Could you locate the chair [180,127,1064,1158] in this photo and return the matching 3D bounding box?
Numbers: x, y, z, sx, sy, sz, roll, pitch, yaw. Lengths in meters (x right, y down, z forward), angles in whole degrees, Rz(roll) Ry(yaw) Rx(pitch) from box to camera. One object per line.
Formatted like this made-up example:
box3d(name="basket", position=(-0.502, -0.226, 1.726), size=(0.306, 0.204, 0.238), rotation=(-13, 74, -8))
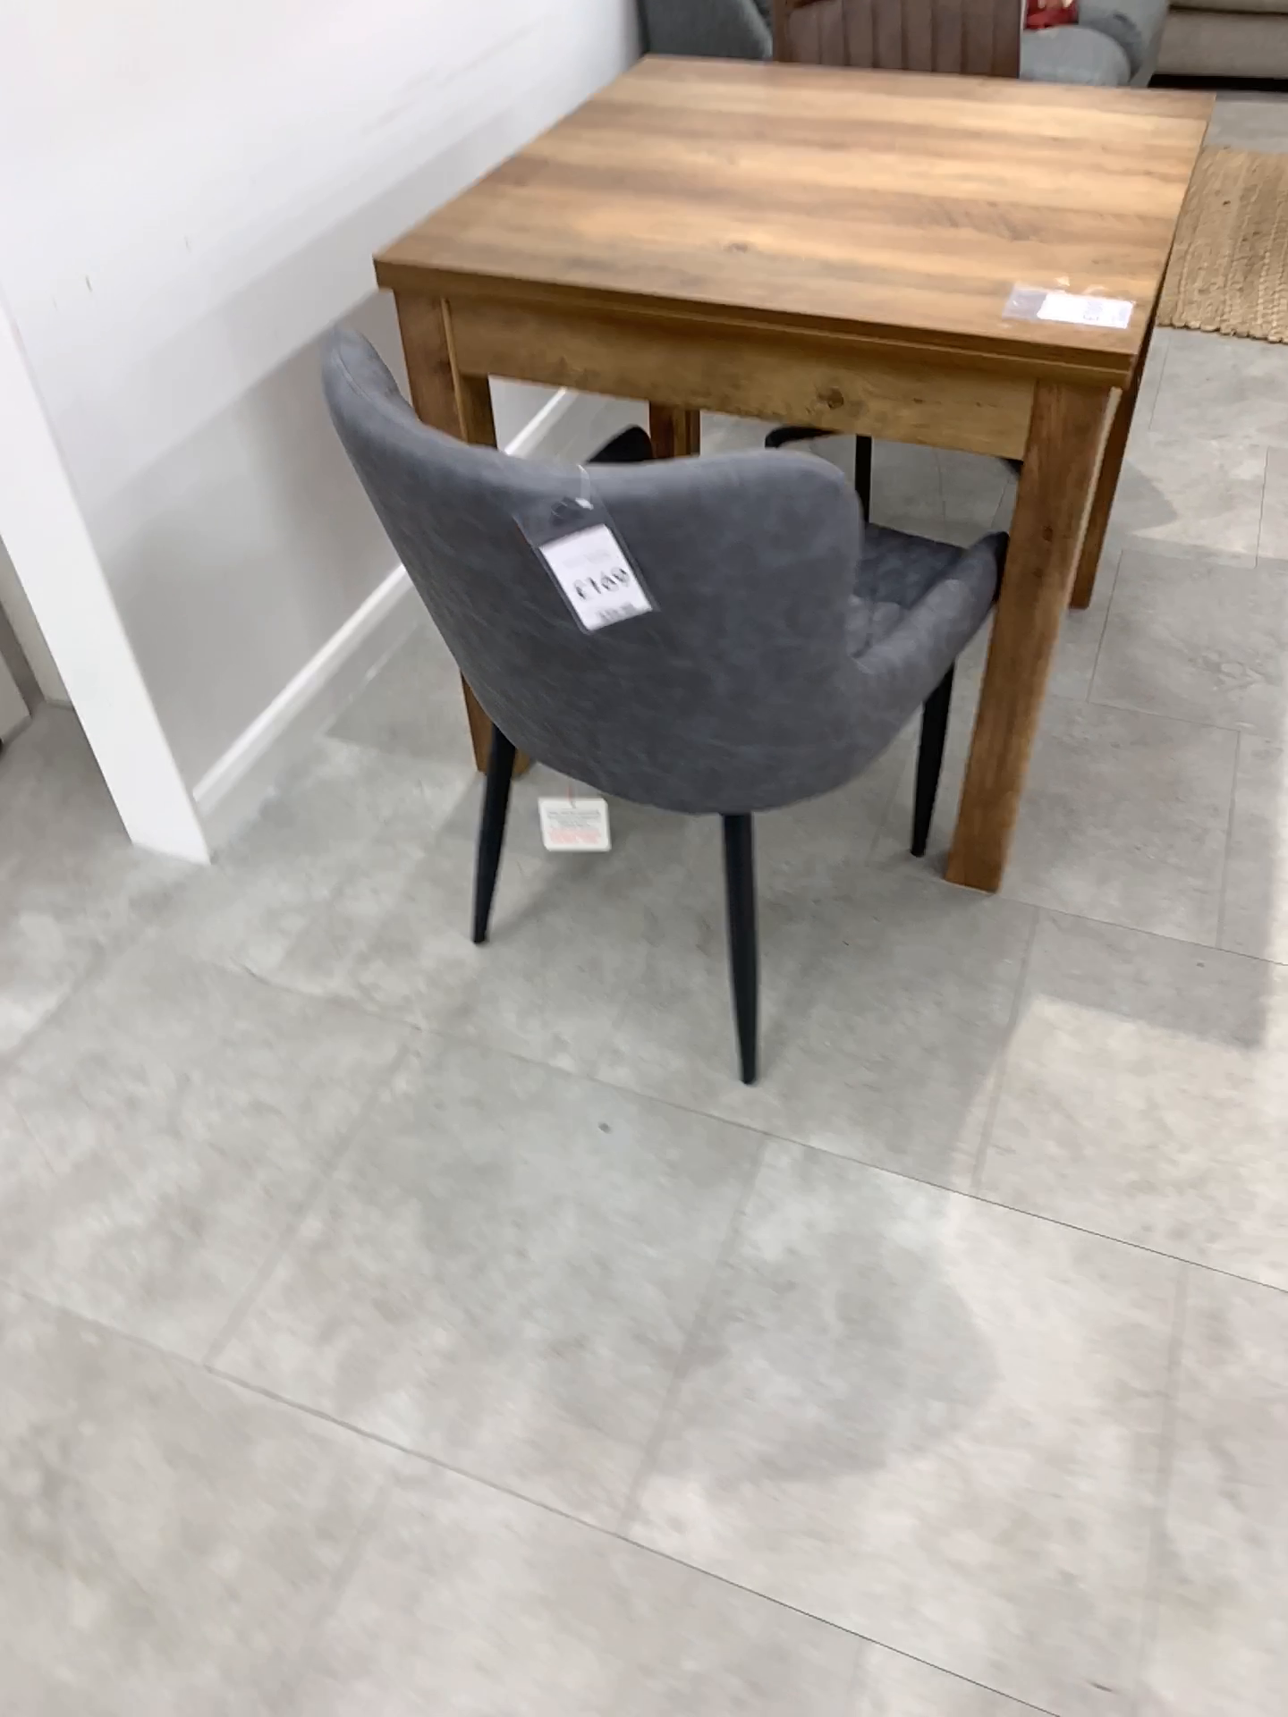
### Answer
box3d(name="chair", position=(0.019, -0.224, 1.365), size=(0.529, 0.775, 0.553), rotation=(22, 50, 23))
